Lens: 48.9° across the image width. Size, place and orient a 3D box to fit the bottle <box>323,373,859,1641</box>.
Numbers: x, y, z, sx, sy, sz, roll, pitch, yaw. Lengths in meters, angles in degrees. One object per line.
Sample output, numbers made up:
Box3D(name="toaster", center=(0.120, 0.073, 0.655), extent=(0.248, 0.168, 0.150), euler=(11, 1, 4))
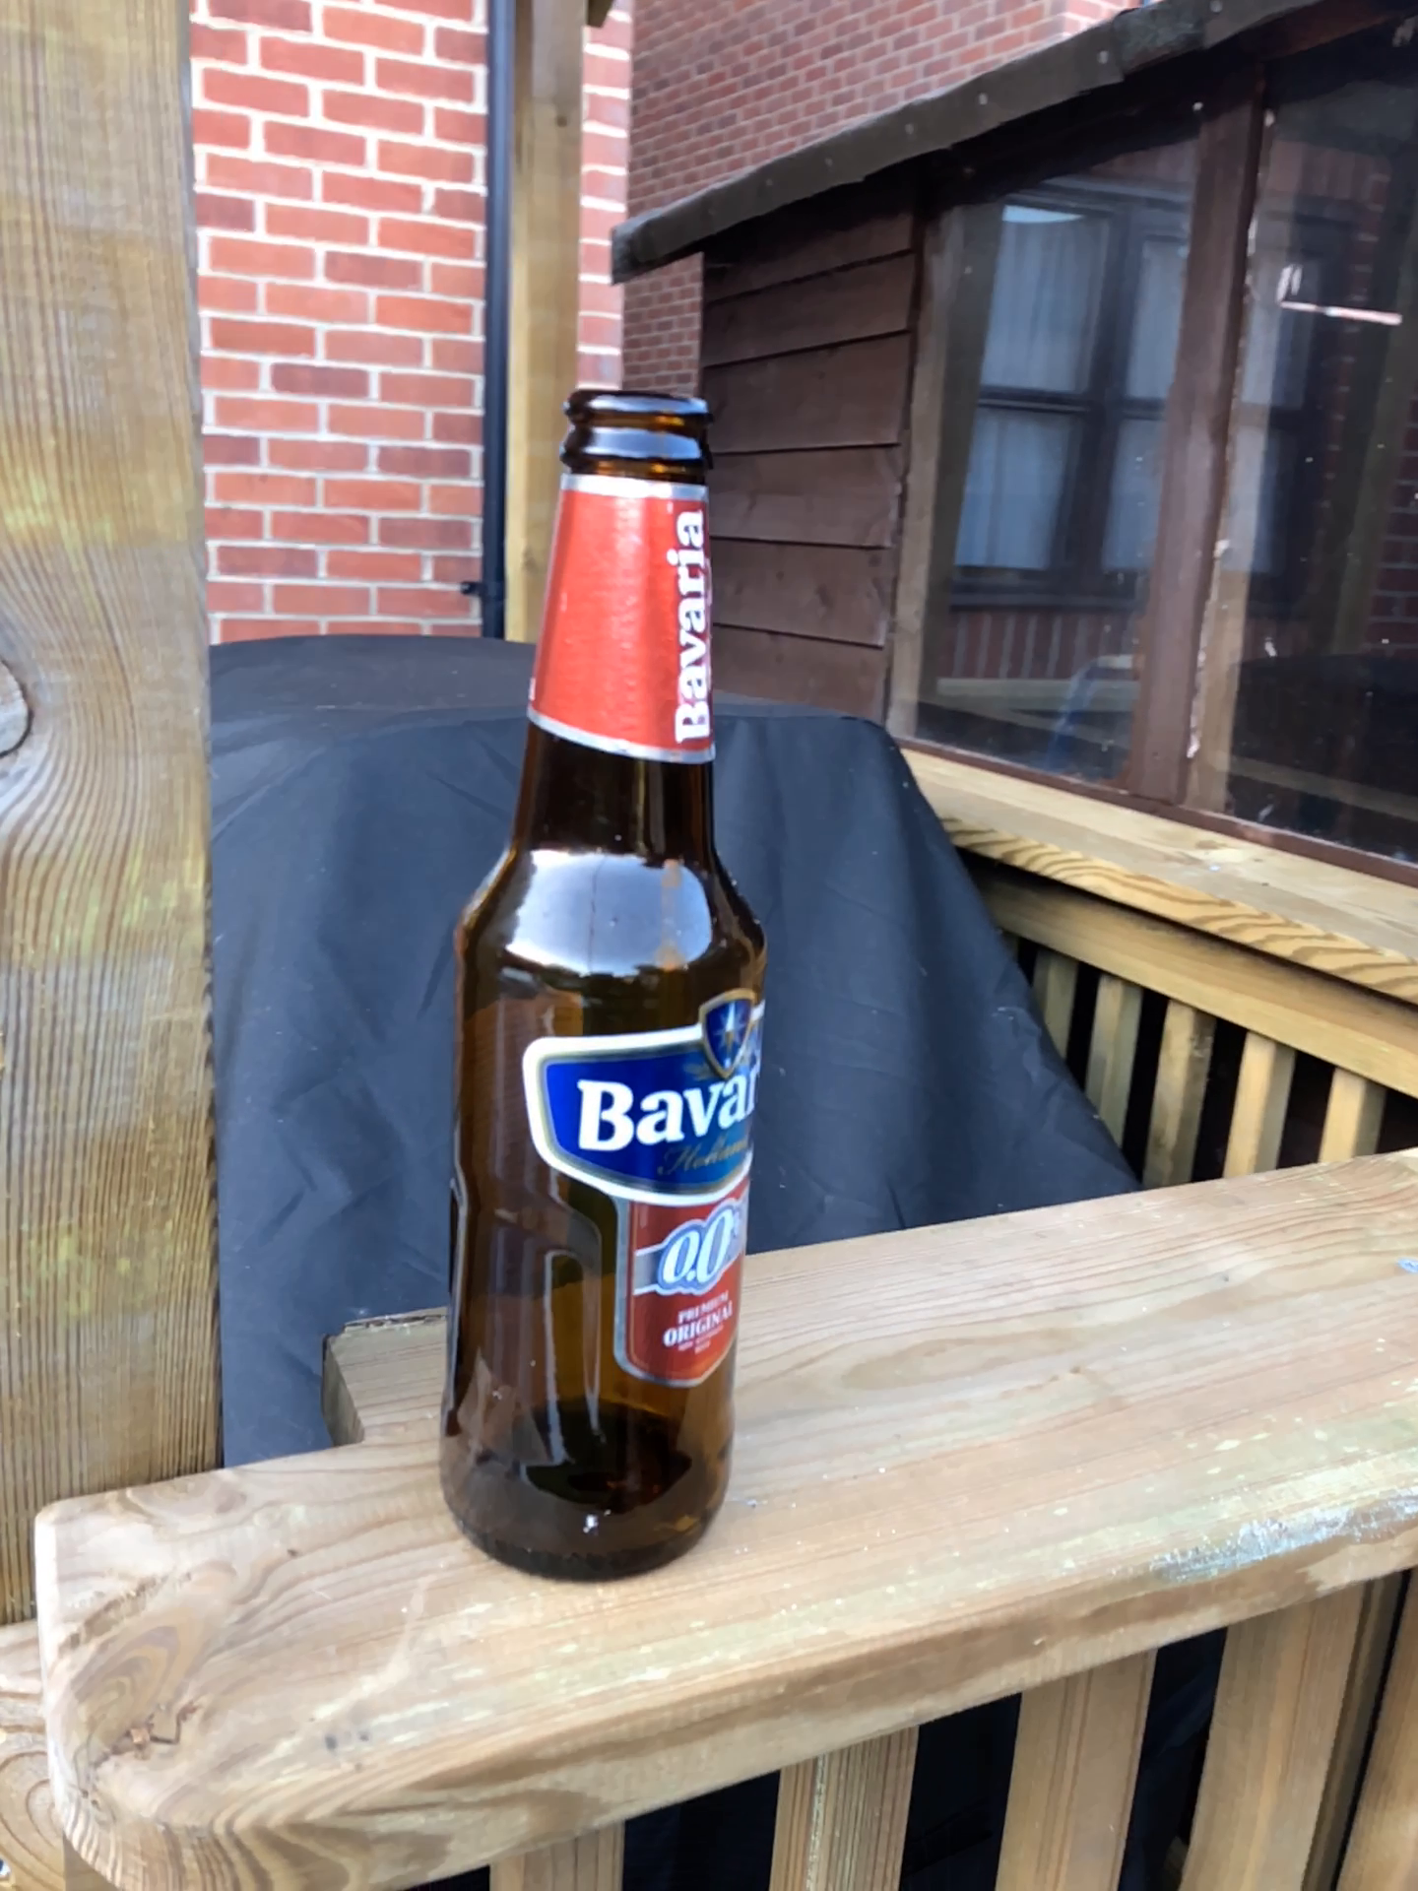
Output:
Box3D(name="bottle", center=(-0.024, 0.008, 0.293), extent=(0.060, 0.209, 0.070), euler=(14, 18, 40))
